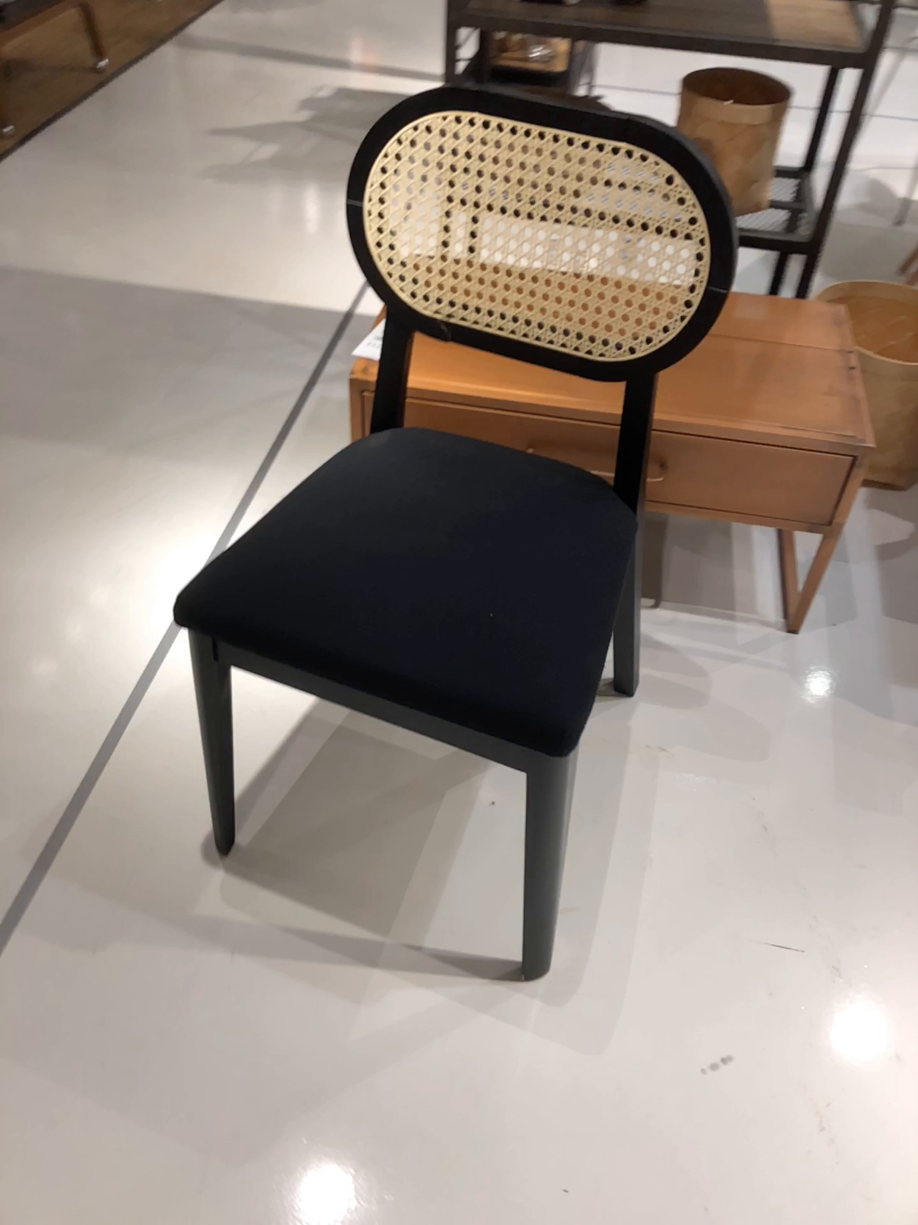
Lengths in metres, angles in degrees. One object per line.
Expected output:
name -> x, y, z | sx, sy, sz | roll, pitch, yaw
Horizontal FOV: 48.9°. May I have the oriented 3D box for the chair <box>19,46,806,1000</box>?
chair -> -0.007, -0.085, 1.132 | 0.500, 0.804, 0.544 | 16, 45, 13
